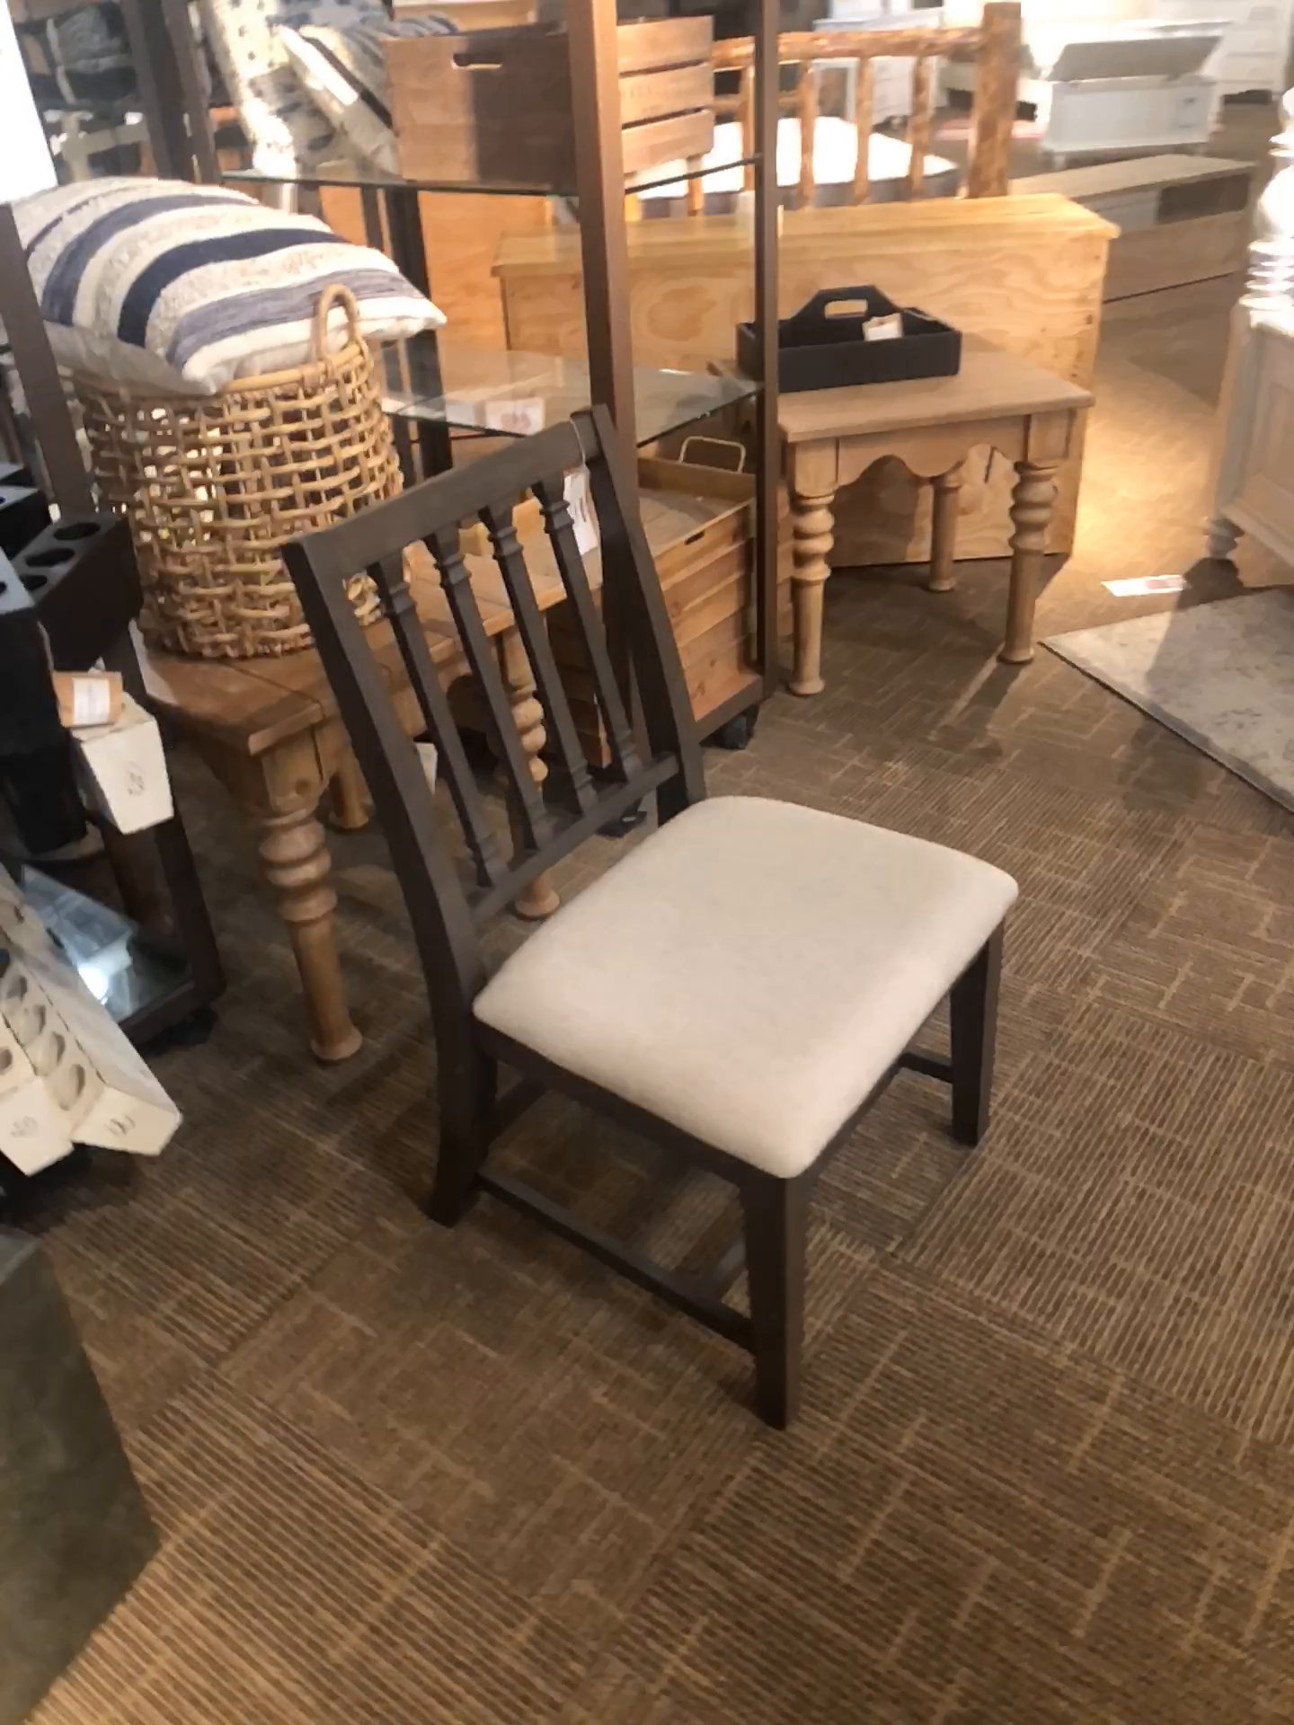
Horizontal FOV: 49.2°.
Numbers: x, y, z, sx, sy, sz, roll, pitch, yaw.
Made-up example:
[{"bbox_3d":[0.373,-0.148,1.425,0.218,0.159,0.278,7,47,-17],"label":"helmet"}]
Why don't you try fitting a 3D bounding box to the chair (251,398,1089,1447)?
[{"bbox_3d":[0.057,0.030,1.633,0.601,0.905,0.582,19,39,31],"label":"chair"}]
